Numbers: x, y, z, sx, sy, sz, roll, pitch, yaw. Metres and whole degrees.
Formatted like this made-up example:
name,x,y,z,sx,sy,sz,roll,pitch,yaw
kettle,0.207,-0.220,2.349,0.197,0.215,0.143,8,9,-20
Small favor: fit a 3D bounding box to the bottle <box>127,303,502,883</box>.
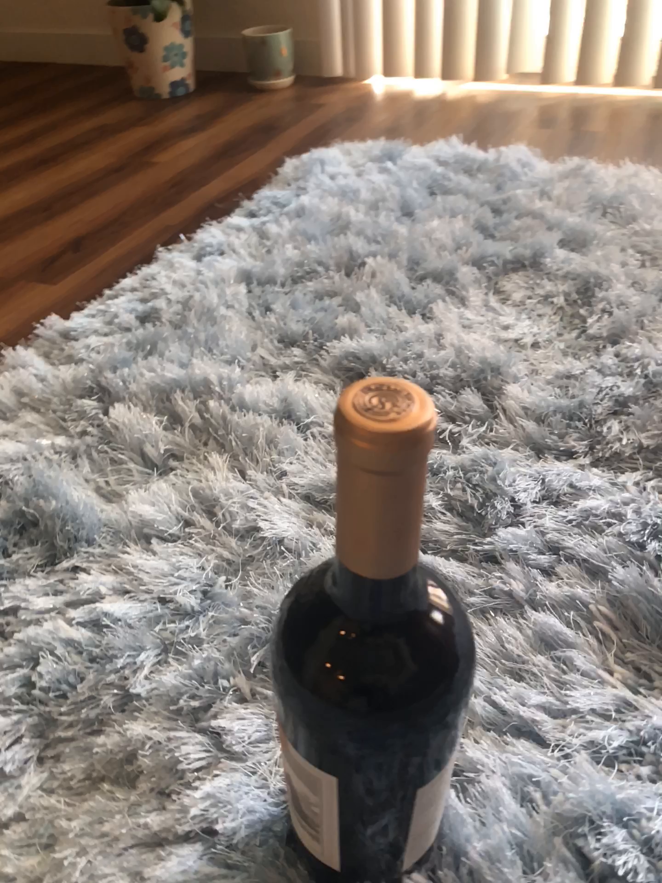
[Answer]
name,x,y,z,sx,sy,sz,roll,pitch,yaw
bottle,0.011,0.101,0.304,0.090,0.298,0.090,-3,38,2
